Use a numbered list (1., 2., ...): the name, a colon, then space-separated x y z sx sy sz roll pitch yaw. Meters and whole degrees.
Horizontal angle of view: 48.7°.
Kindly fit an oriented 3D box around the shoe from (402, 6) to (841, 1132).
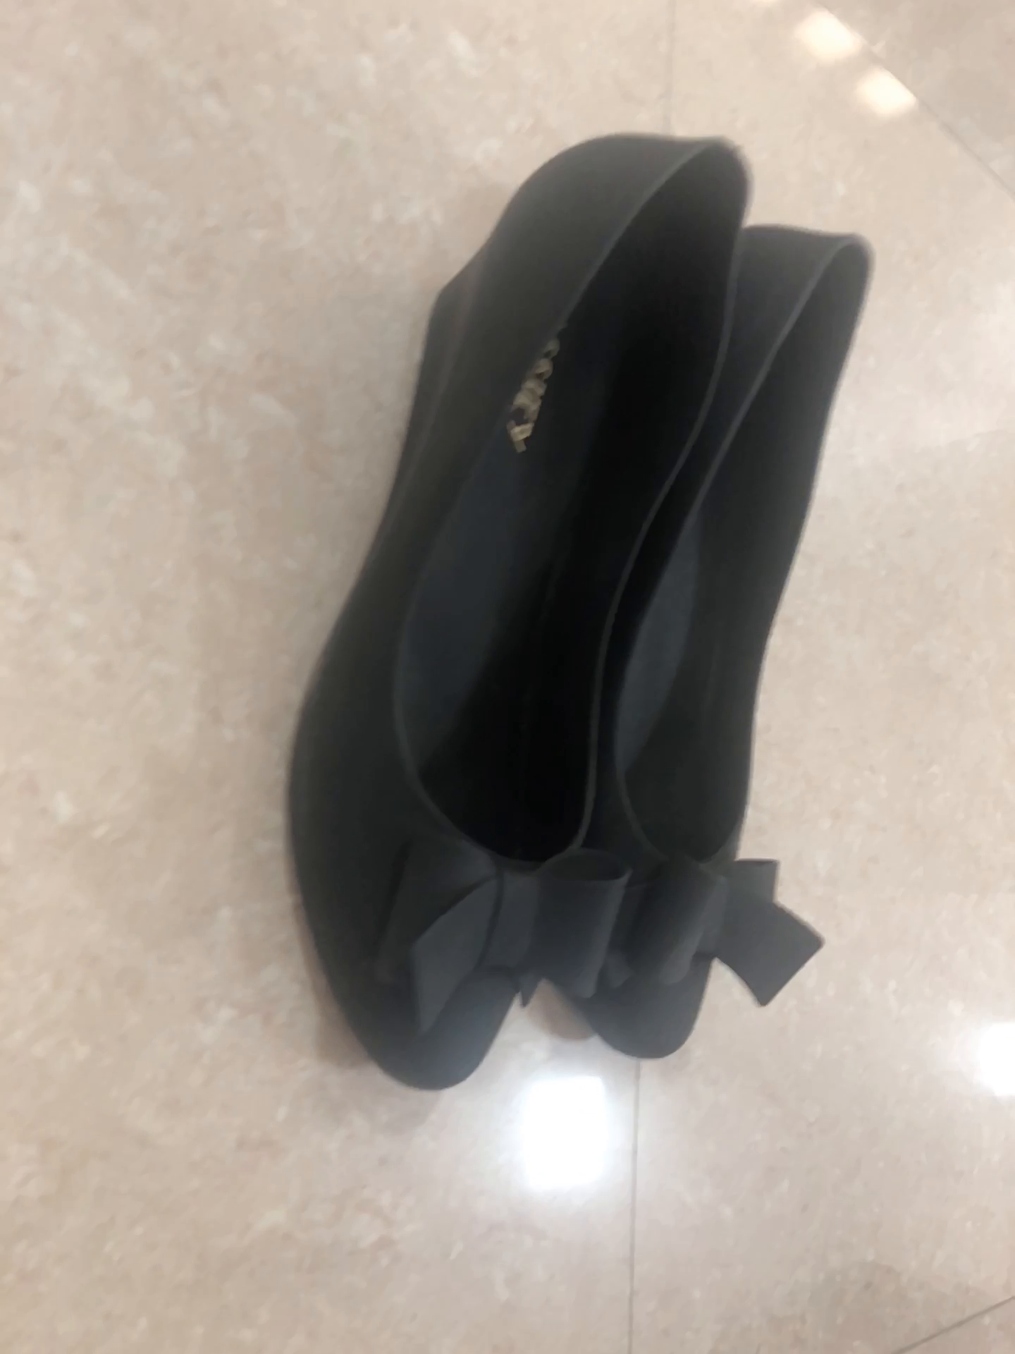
1. shoe: 0.040 -0.030 0.367 0.090 0.090 0.310 9 82 -42

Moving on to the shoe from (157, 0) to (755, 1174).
1. shoe: -0.008 -0.040 0.315 0.090 0.090 0.310 16 77 -40
